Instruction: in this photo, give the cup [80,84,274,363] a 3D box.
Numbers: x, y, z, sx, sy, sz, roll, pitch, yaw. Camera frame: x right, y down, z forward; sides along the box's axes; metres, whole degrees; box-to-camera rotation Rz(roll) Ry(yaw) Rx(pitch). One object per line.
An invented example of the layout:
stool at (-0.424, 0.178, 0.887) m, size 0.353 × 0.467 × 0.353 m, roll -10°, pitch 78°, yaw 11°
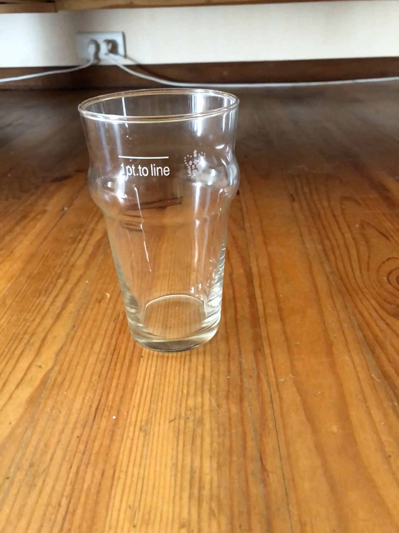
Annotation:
cup at (-0.015, -0.029, 0.294) m, size 0.094 × 0.151 × 0.092 m, roll -1°, pitch 32°, yaw 1°
